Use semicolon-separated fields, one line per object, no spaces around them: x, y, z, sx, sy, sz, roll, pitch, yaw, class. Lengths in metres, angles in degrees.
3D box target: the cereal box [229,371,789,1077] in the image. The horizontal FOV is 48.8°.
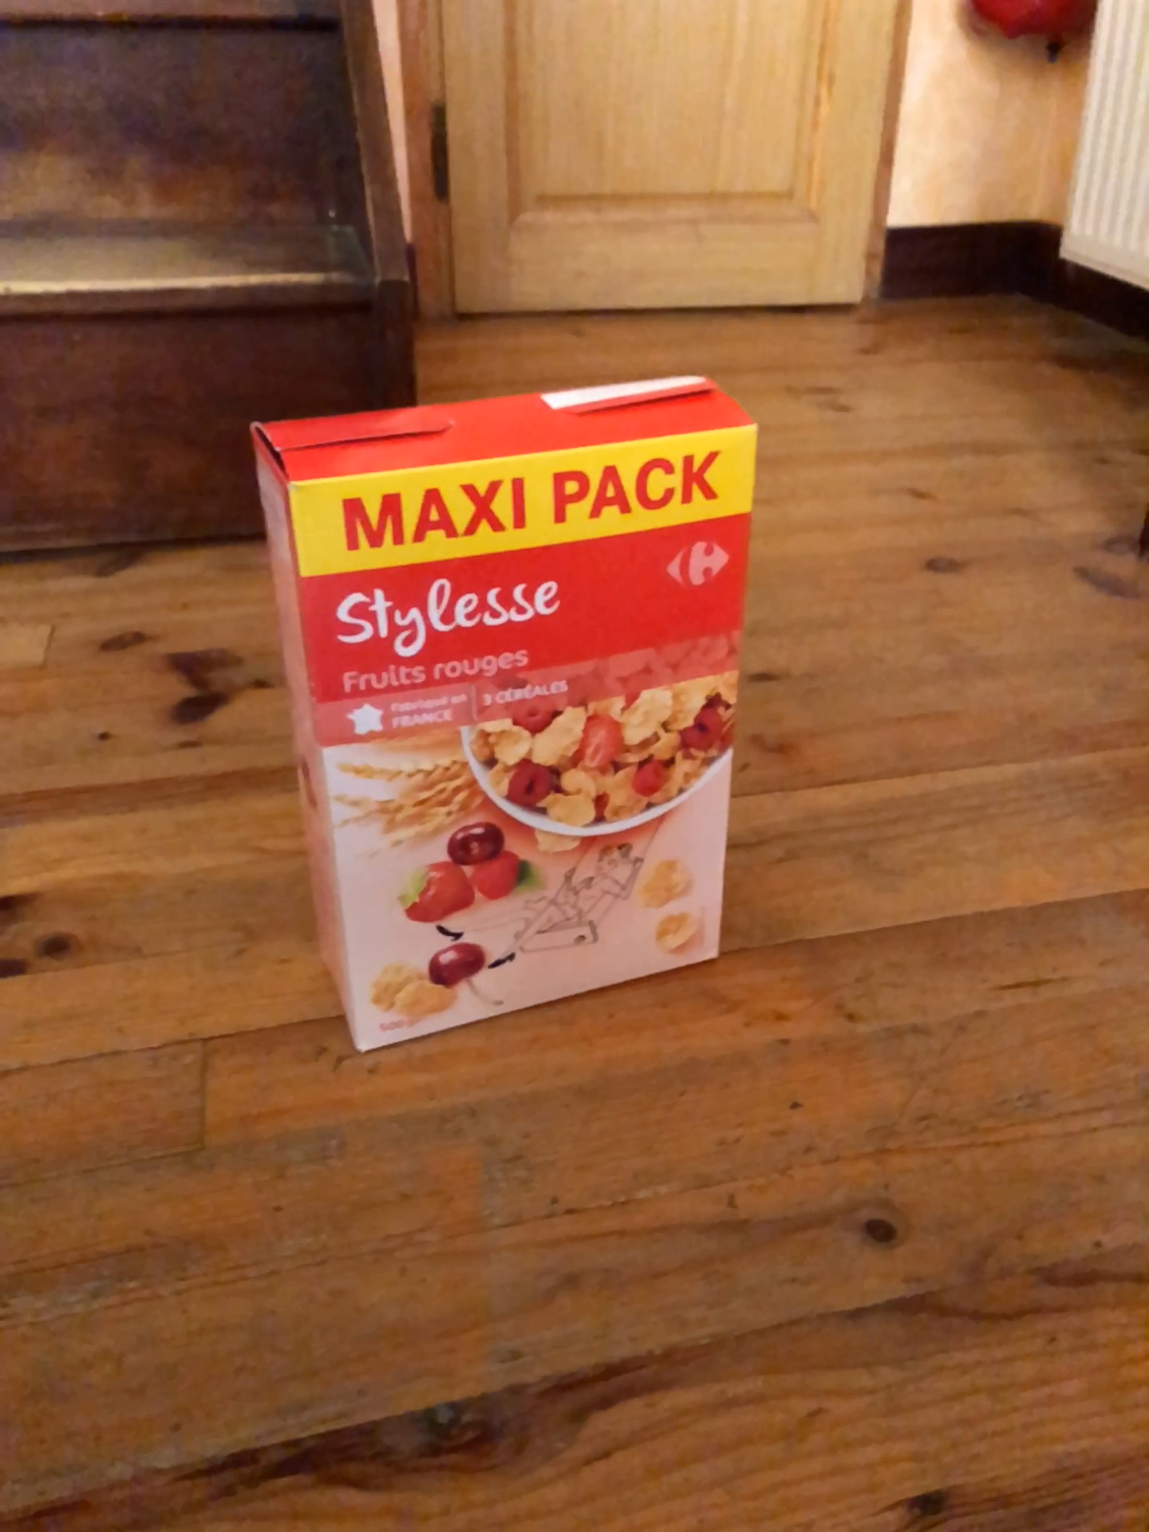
-0.028;-0.018;0.592;0.211;0.288;0.090;-11;34;-18;cereal box
